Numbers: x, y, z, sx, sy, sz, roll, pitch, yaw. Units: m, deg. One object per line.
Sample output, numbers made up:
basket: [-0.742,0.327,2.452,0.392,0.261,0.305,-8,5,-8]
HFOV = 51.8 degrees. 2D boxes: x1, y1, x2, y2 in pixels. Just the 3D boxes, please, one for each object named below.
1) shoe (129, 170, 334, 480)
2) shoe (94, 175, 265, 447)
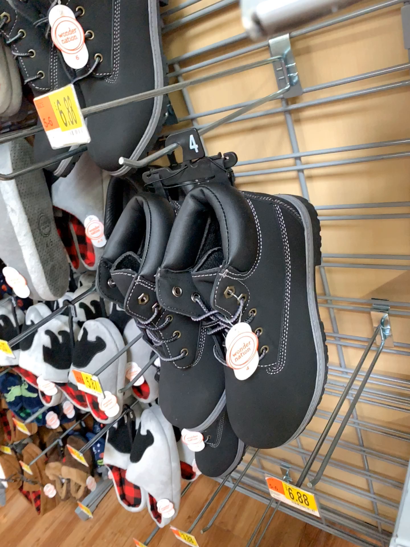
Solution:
shoe: [0.030,0.027,0.350,0.100,0.206,0.120,5,17,40]
shoe: [-0.018,0.026,0.422,0.100,0.229,0.109,7,19,39]
